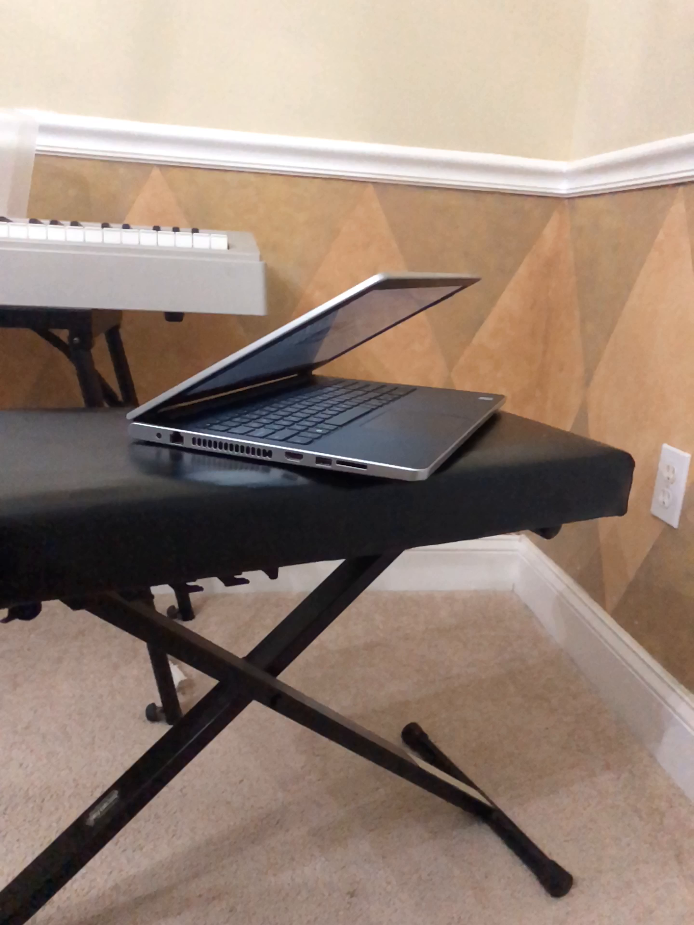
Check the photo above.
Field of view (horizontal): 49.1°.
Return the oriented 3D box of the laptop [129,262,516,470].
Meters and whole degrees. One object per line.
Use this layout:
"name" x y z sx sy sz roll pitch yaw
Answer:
"laptop" 0.005 -0.123 0.778 0.261 0.137 0.376 9 16 18
